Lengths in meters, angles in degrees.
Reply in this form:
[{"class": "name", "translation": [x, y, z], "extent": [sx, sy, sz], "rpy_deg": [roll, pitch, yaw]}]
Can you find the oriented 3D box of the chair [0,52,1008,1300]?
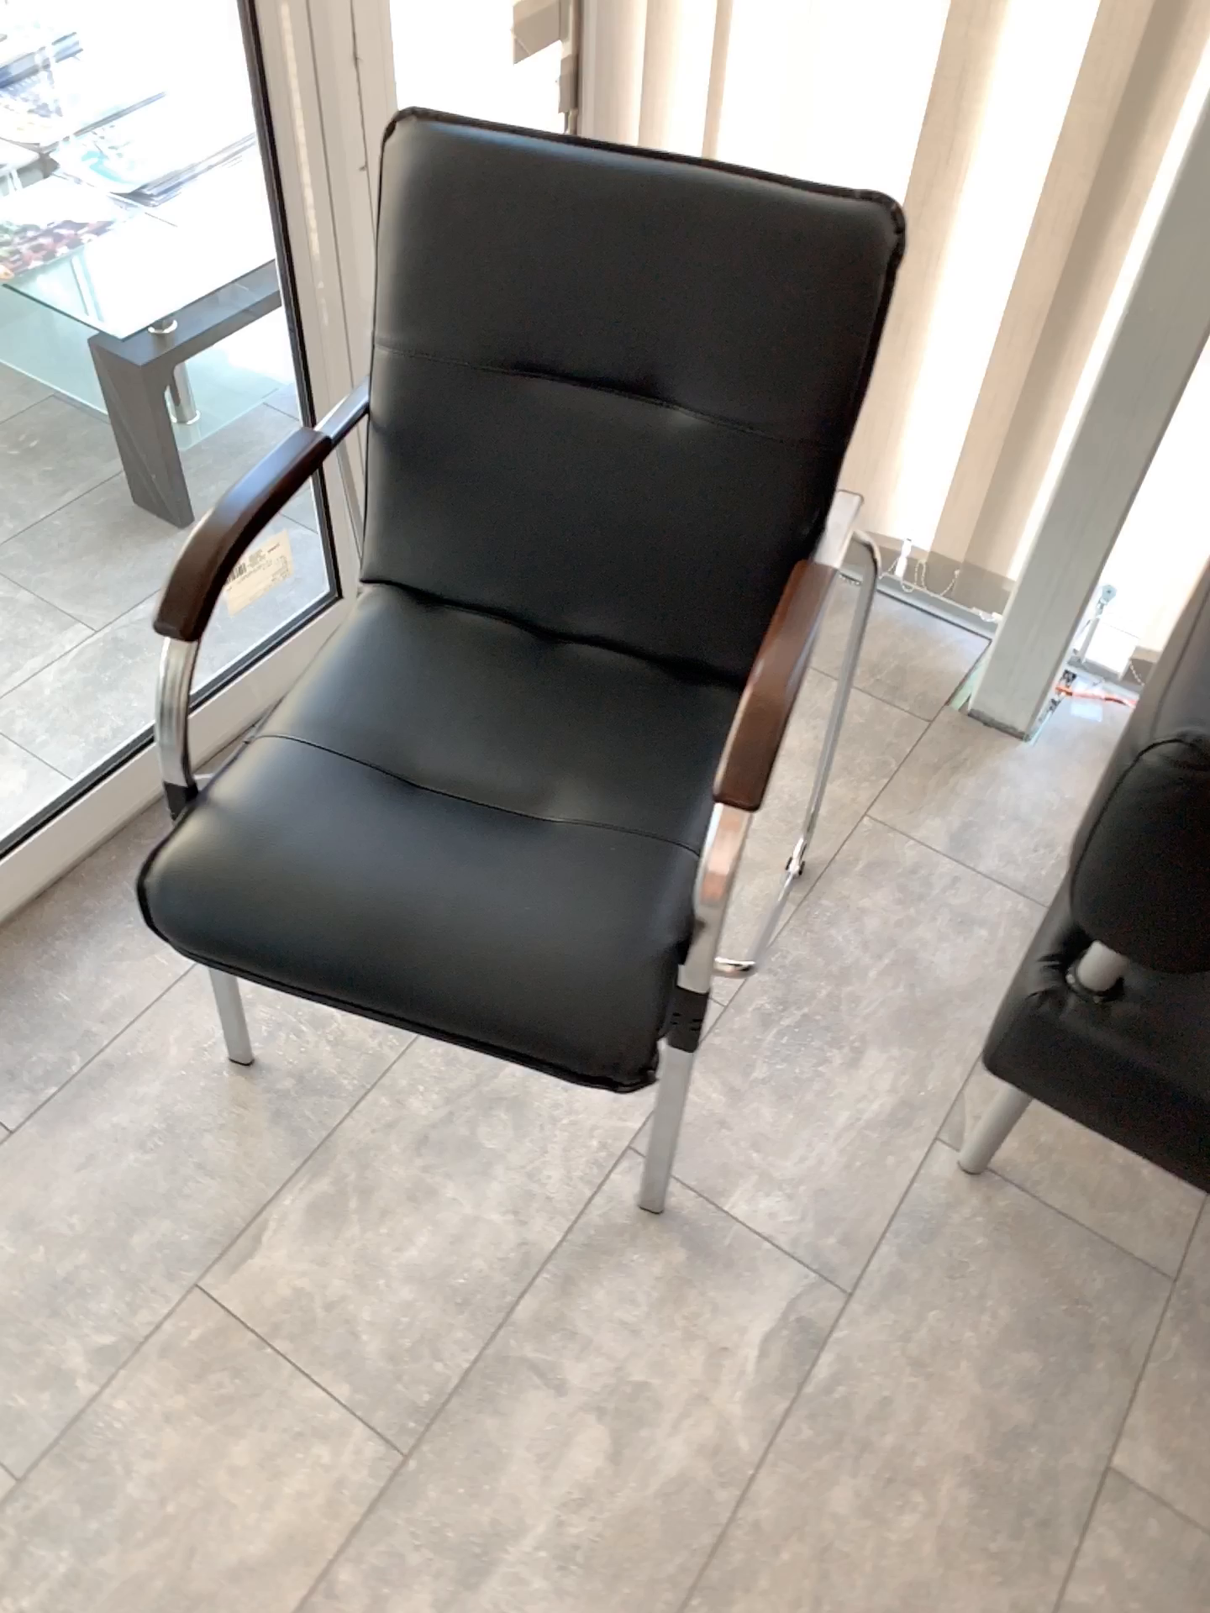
[{"class": "chair", "translation": [-0.104, -0.108, 1.203], "extent": [0.680, 0.827, 0.702], "rpy_deg": [15, 51, 10]}]
